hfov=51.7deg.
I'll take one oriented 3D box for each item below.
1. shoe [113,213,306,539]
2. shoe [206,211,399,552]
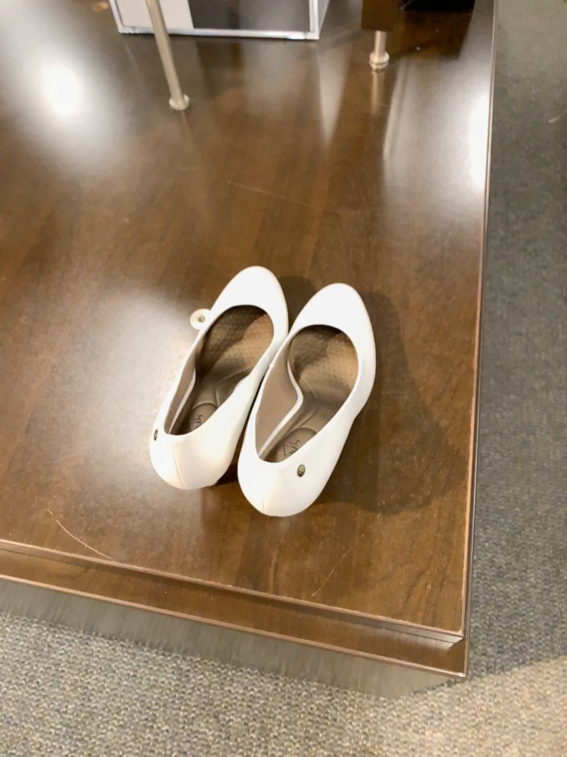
[{"bbox_3d":[-0.049,-0.008,0.520,0.090,0.110,0.261,7,61,10],"label":"shoe"},{"bbox_3d":[0.028,-0.004,0.502,0.090,0.110,0.261,11,62,11],"label":"shoe"}]
